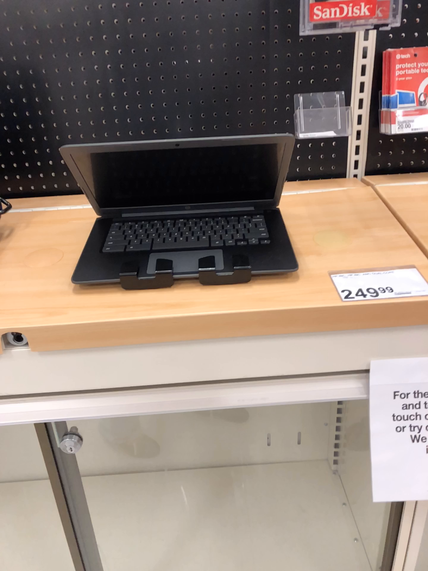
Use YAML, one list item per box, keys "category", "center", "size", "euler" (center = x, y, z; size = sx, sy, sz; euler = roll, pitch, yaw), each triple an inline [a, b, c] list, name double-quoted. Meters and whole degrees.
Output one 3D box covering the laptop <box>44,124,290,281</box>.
- category: "laptop"
  center: [-0.059, -0.135, 0.720]
  size: [0.318, 0.144, 0.201]
  euler: [-3, 31, 0]
